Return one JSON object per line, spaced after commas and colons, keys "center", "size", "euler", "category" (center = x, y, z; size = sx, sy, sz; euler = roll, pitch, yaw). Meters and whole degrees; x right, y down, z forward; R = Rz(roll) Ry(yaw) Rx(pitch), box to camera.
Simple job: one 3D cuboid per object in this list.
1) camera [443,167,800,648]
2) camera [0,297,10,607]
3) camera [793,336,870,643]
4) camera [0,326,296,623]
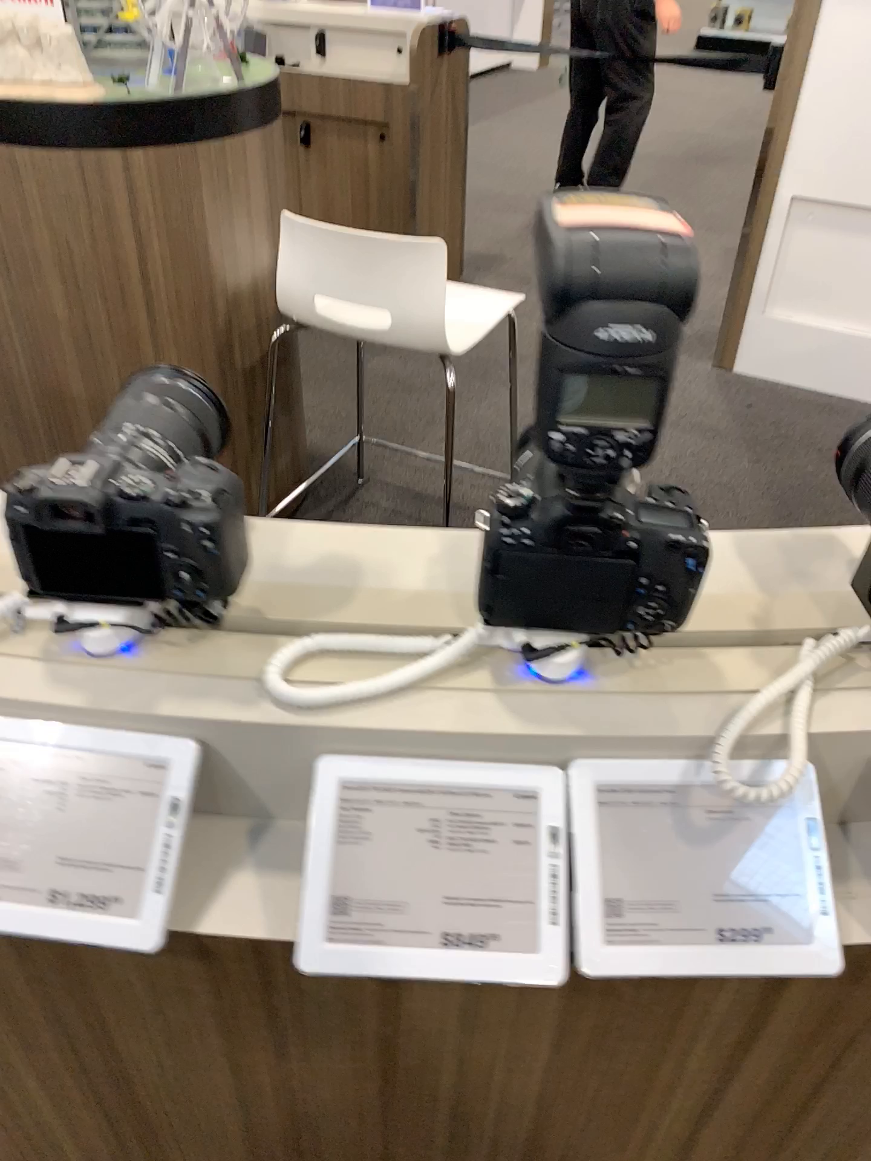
{"center": [0.088, -0.103, 0.528], "size": [0.150, 0.219, 0.171], "euler": [3, 38, 2], "category": "camera"}
{"center": [-0.423, -0.095, 0.603], "size": [0.150, 0.119, 0.171], "euler": [10, 39, 10], "category": "camera"}
{"center": [0.336, -0.063, 0.546], "size": [0.140, 0.099, 0.191], "euler": [0, 39, -3], "category": "camera"}
{"center": [-0.186, -0.080, 0.596], "size": [0.140, 0.099, 0.201], "euler": [4, 39, 2], "category": "camera"}
